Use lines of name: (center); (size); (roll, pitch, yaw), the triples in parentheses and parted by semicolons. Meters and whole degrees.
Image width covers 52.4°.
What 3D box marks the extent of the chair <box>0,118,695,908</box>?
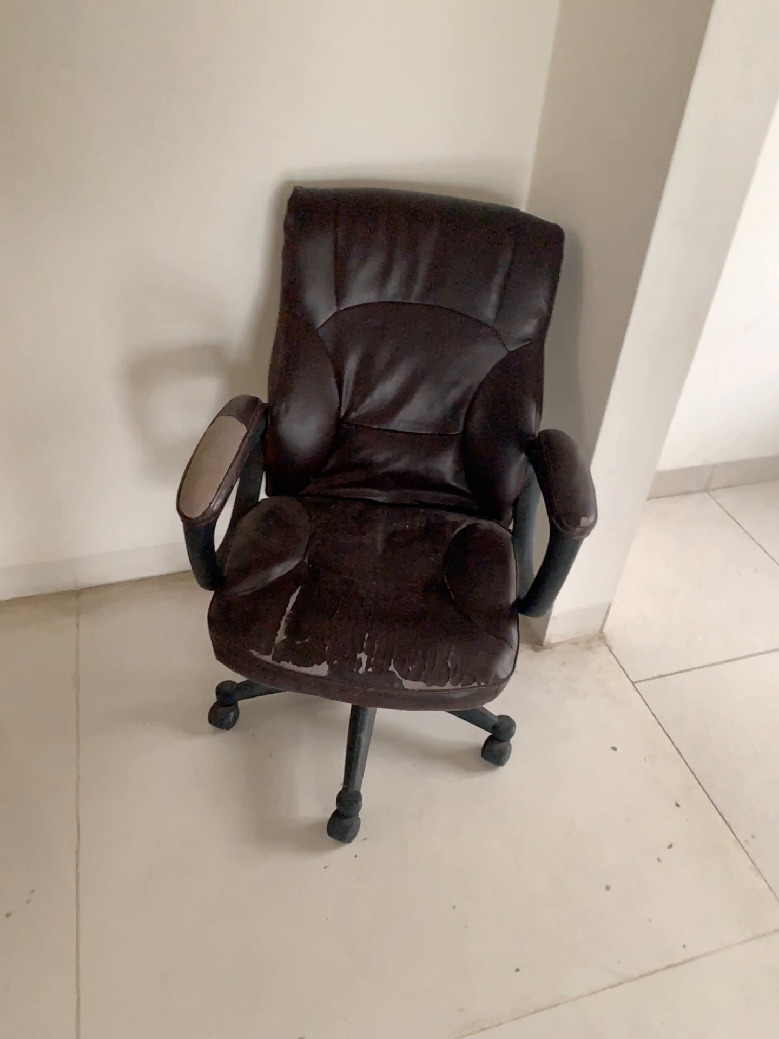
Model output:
chair: (-0.058, -0.017, 1.349); (0.700, 0.996, 0.793); (7, 39, 3)
